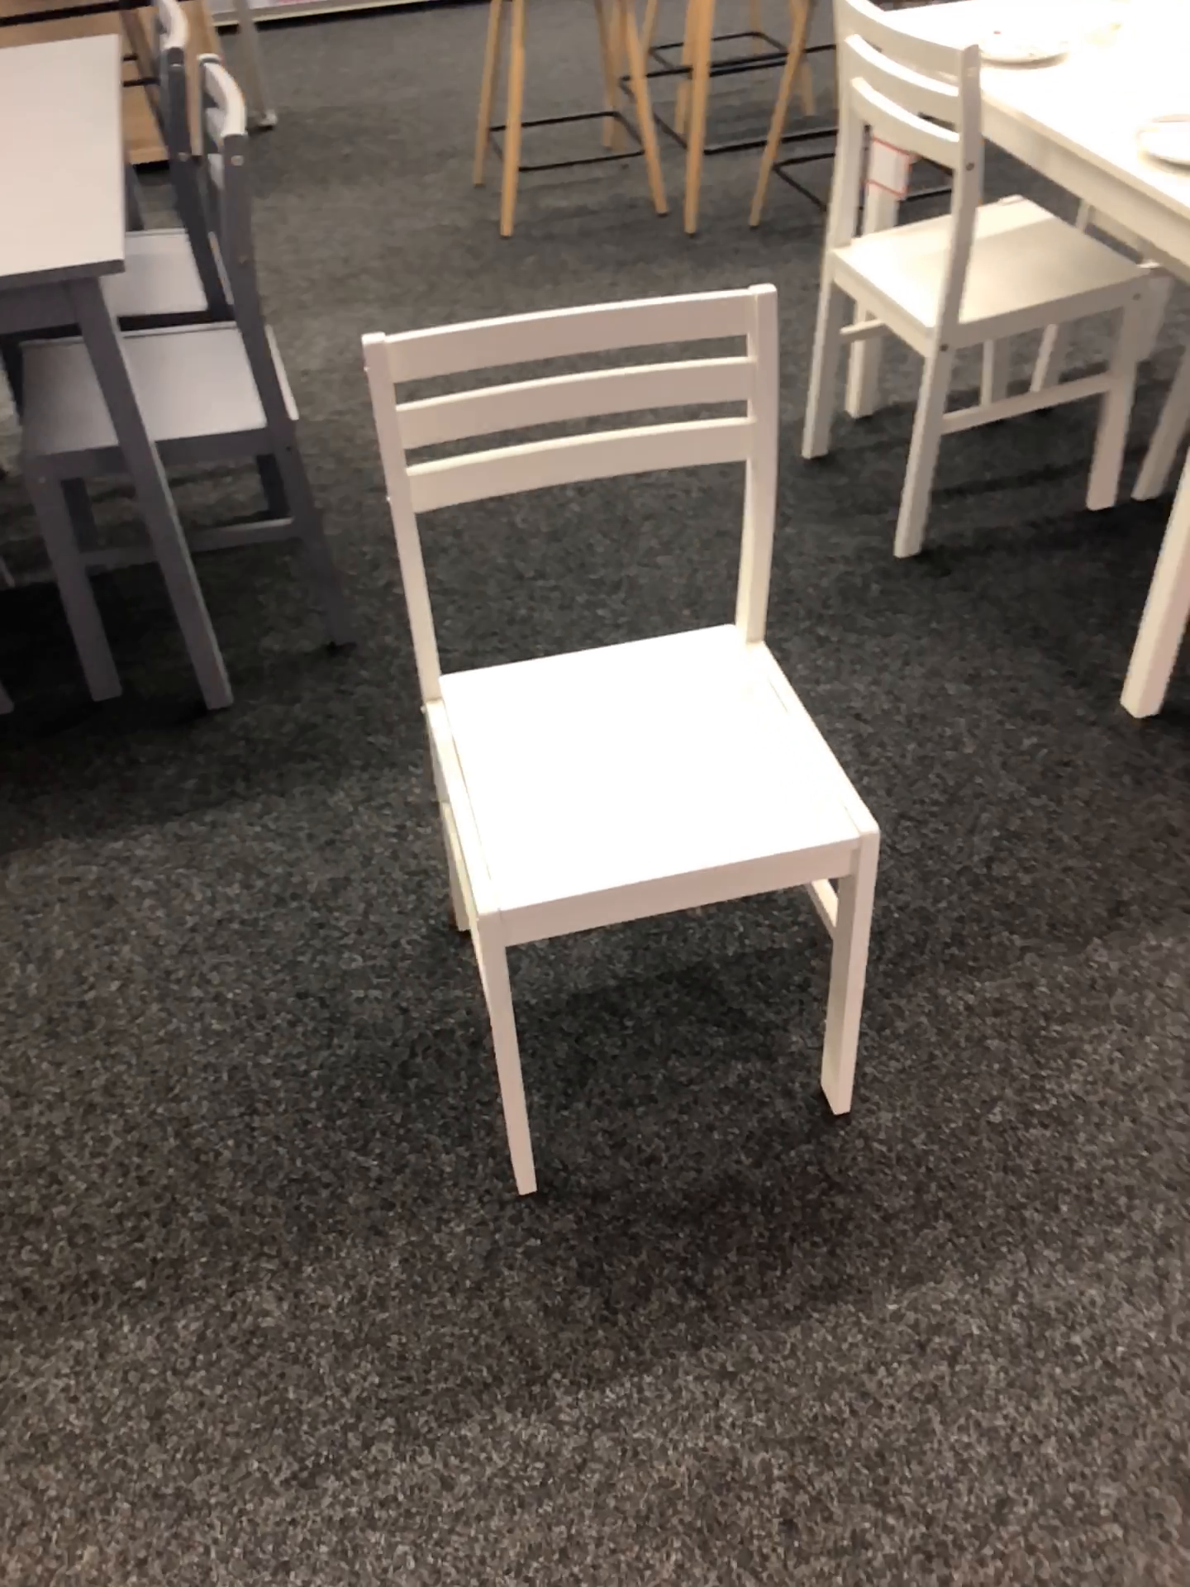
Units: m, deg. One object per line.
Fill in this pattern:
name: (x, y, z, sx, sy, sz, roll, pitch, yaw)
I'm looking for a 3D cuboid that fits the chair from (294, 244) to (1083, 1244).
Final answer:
chair: (0.051, -0.033, 1.297, 0.500, 0.766, 0.502, -12, 44, -8)
